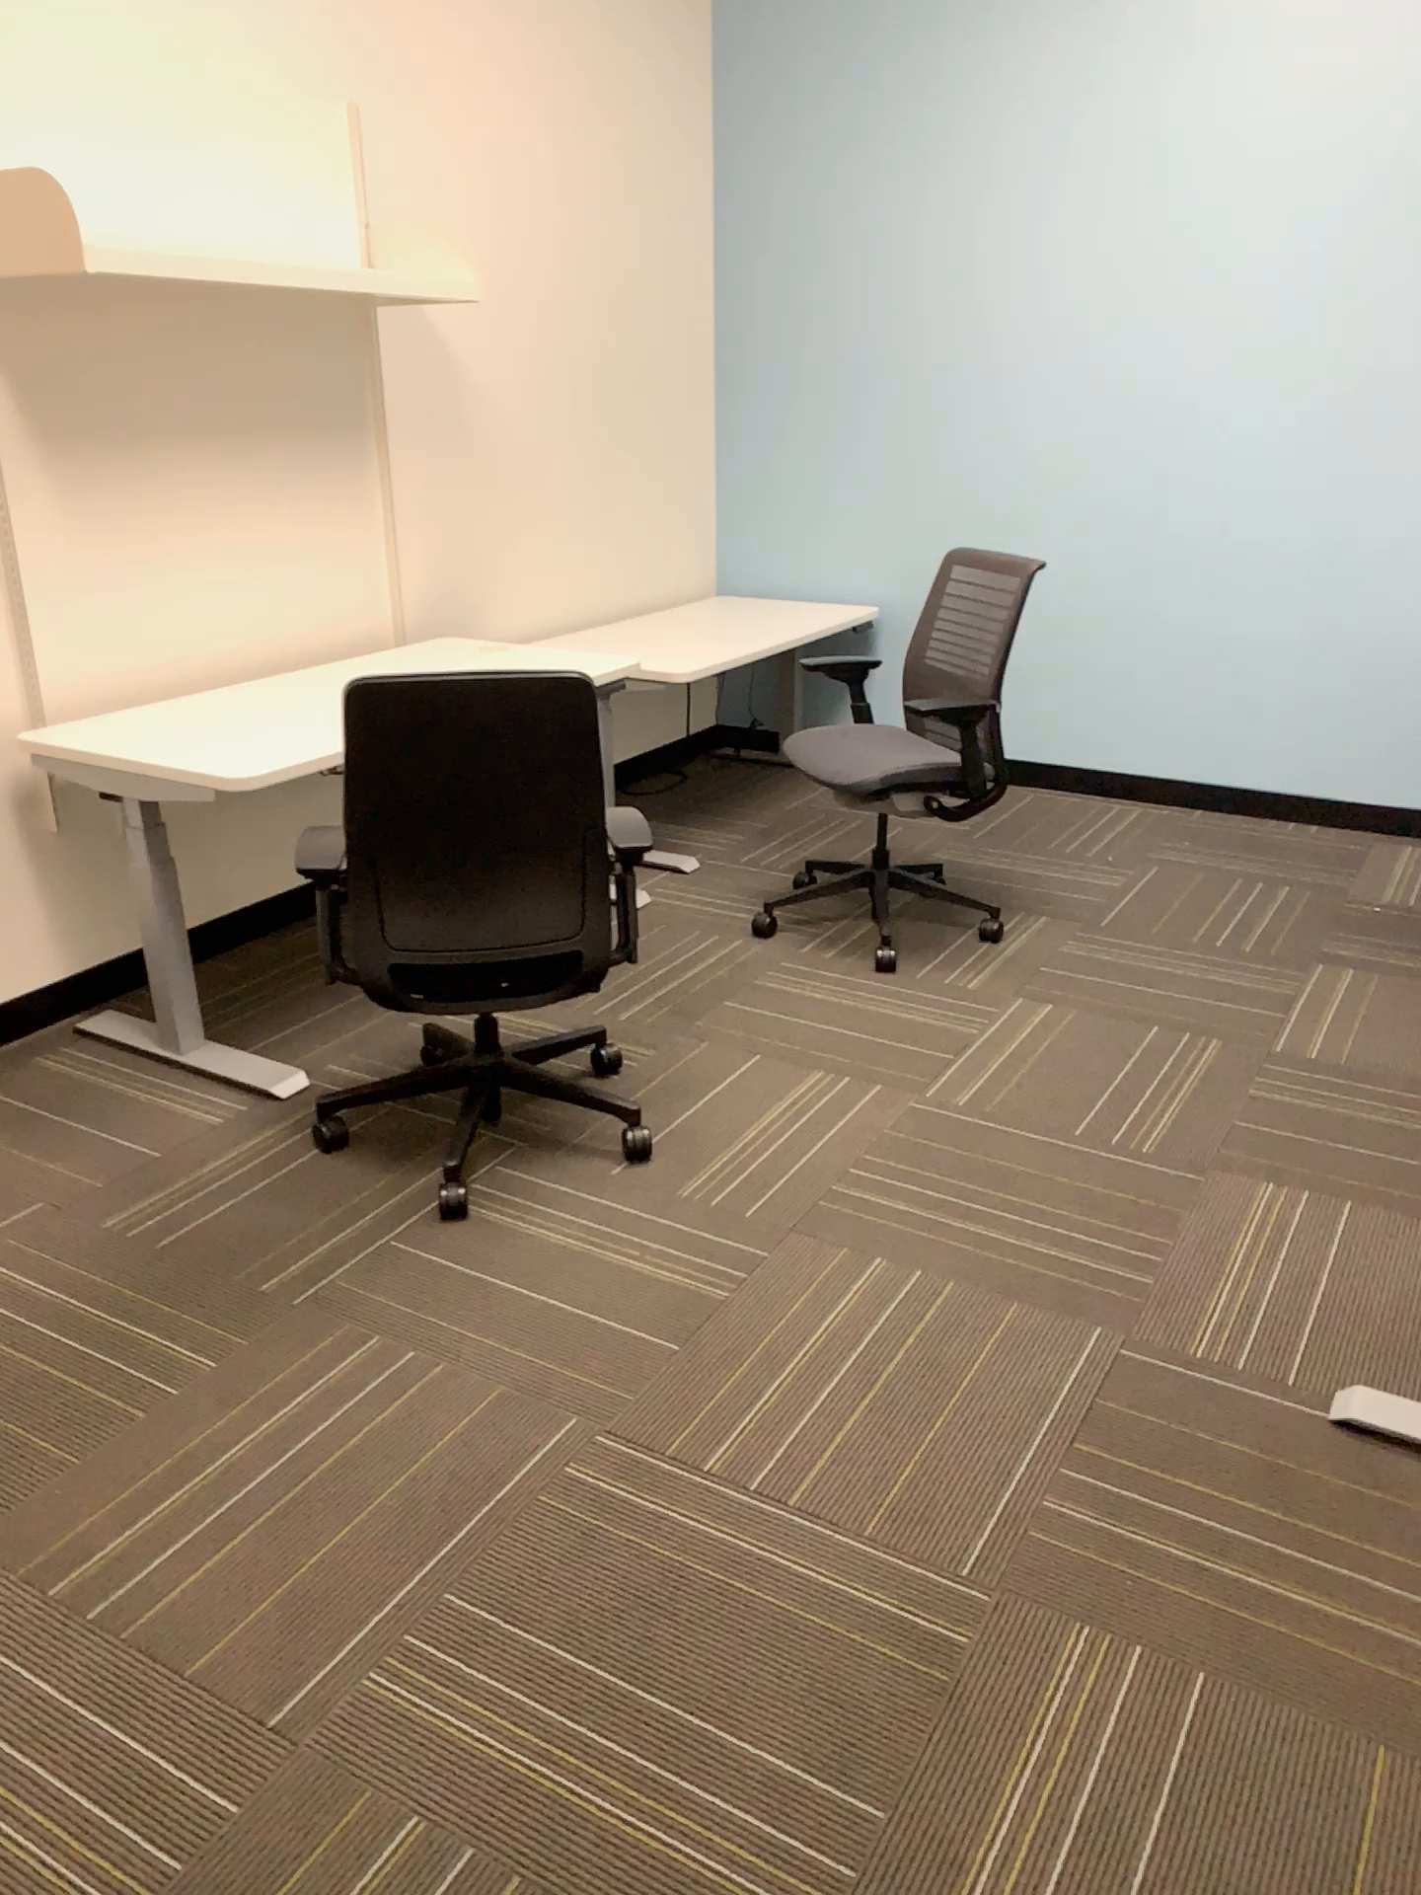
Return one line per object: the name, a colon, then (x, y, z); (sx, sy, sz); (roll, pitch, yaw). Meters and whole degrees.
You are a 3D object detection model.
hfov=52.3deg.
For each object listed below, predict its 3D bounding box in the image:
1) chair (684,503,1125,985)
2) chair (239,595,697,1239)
chair: (0.431, -0.575, 3.701); (0.770, 0.995, 0.895); (-6, 22, -16)
chair: (-0.456, -0.116, 2.698); (0.680, 0.935, 0.774); (-6, 22, -14)
